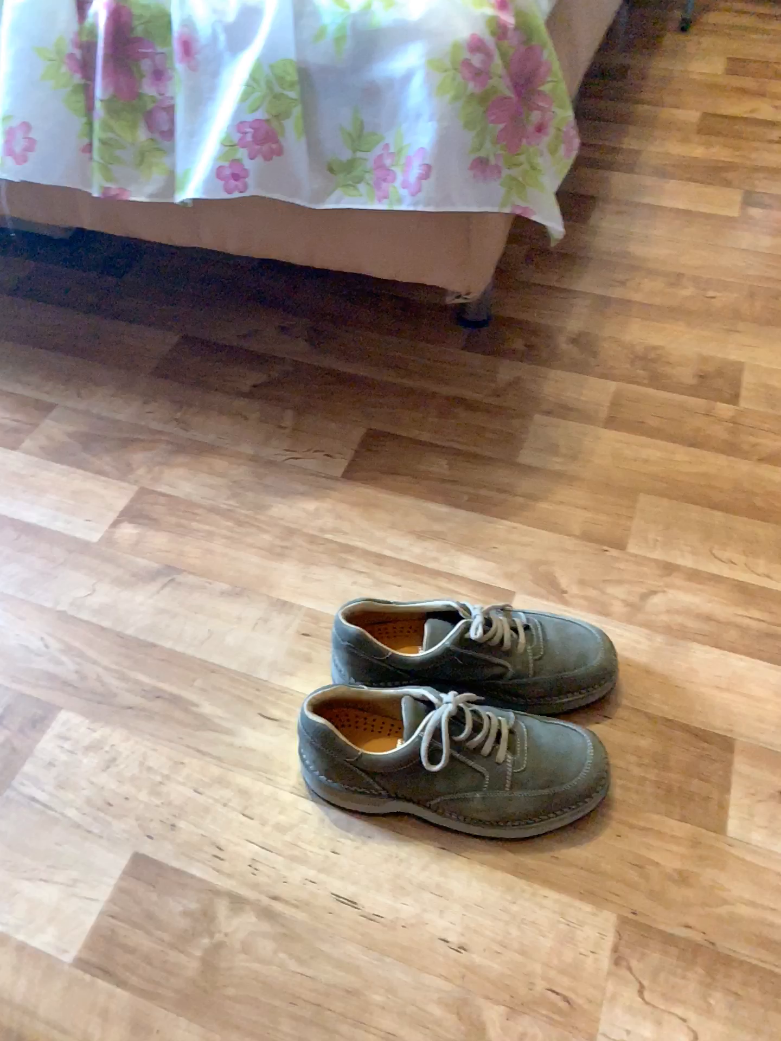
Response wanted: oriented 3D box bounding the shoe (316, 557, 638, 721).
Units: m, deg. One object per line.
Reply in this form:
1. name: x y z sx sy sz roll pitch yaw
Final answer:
1. shoe: 0.081 0.118 0.803 0.290 0.110 0.120 0 50 3

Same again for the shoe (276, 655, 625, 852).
1. shoe: 0.055 0.218 0.747 0.290 0.120 0.120 2 50 5
